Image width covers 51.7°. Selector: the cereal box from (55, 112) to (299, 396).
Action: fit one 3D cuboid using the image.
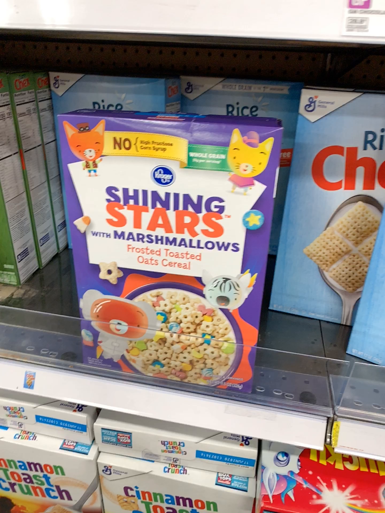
[{"bbox_3d":[-0.016,0.004,0.397,0.200,0.269,0.050,6,25,9],"label":"cereal box"}]
